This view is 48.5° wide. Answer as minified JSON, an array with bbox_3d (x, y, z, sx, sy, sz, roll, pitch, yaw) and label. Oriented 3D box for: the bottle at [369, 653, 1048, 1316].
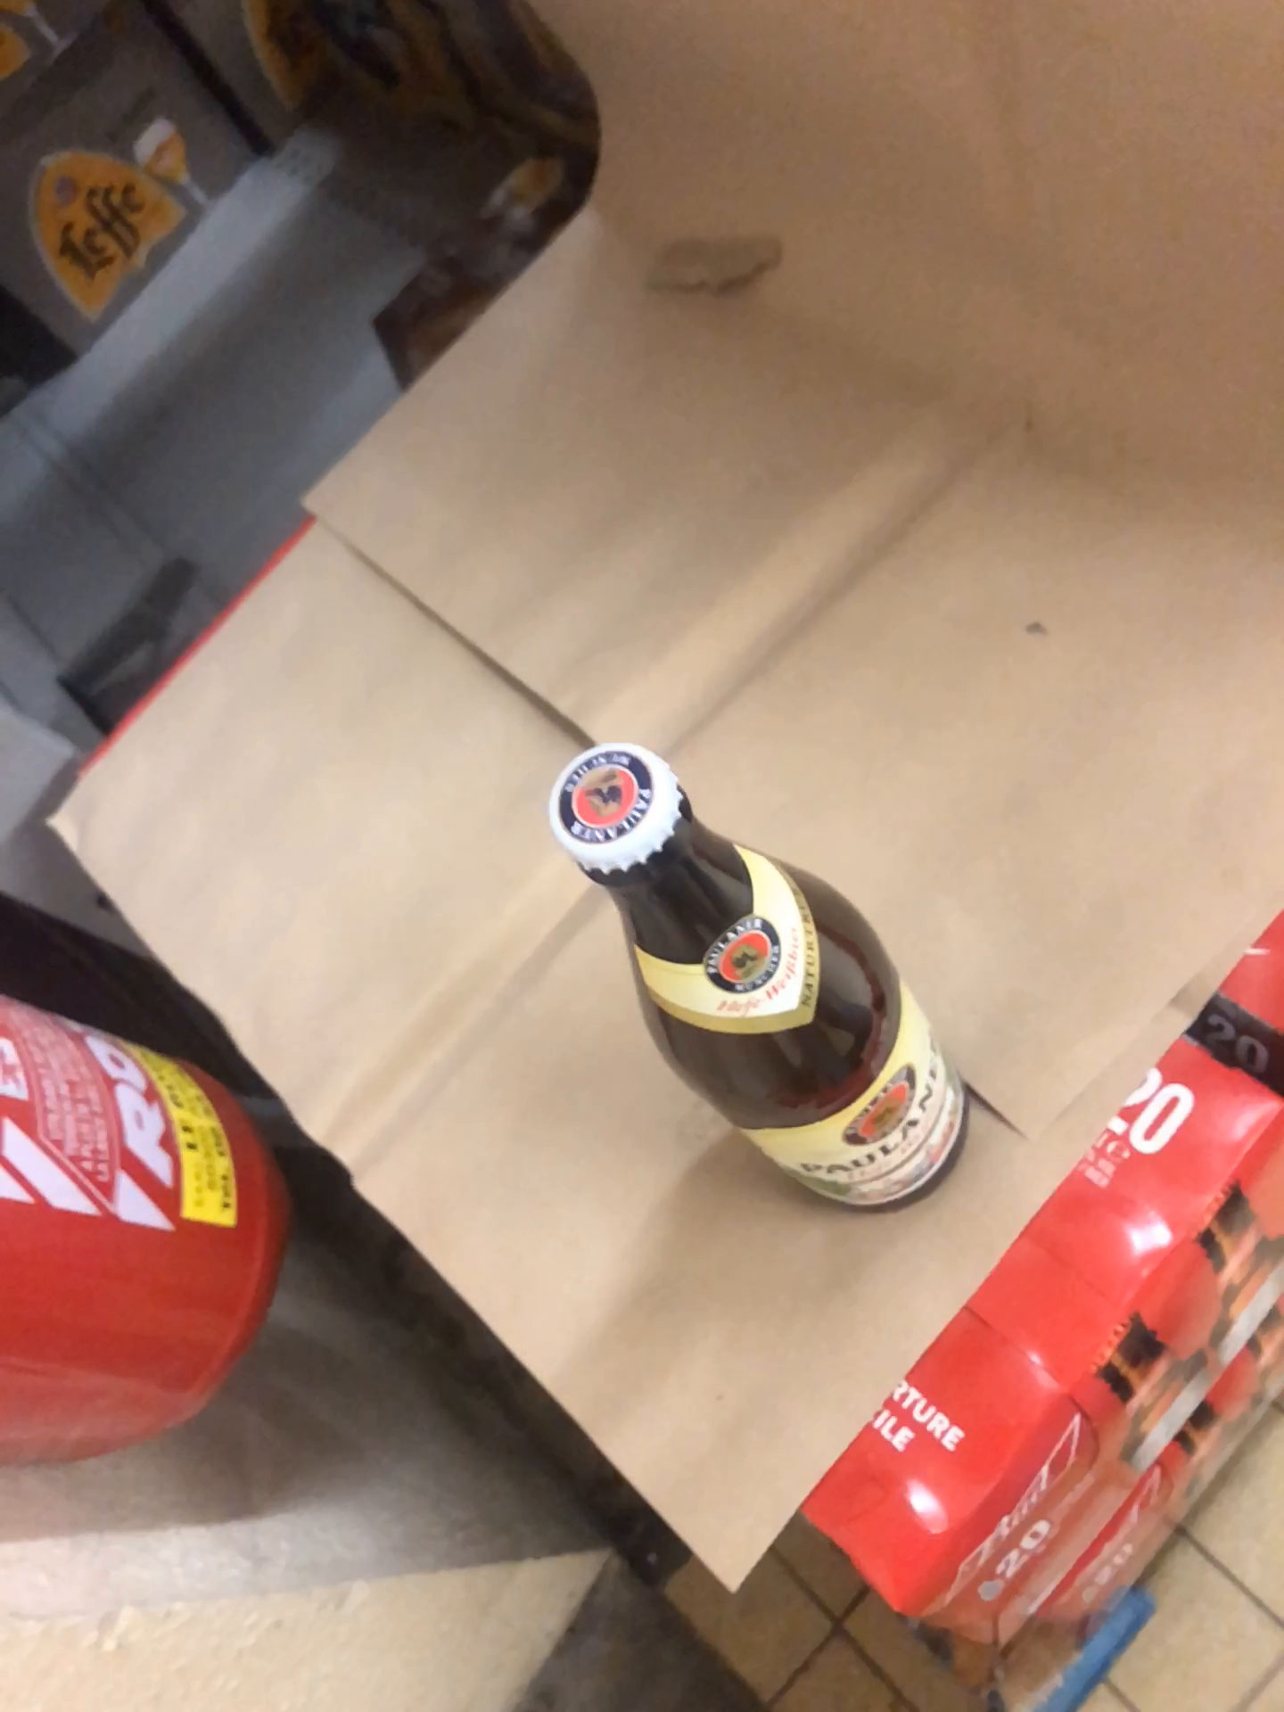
[{"bbox_3d":[0.036,0.054,0.381,0.080,0.239,0.080,-9,65,20],"label":"bottle"}]
